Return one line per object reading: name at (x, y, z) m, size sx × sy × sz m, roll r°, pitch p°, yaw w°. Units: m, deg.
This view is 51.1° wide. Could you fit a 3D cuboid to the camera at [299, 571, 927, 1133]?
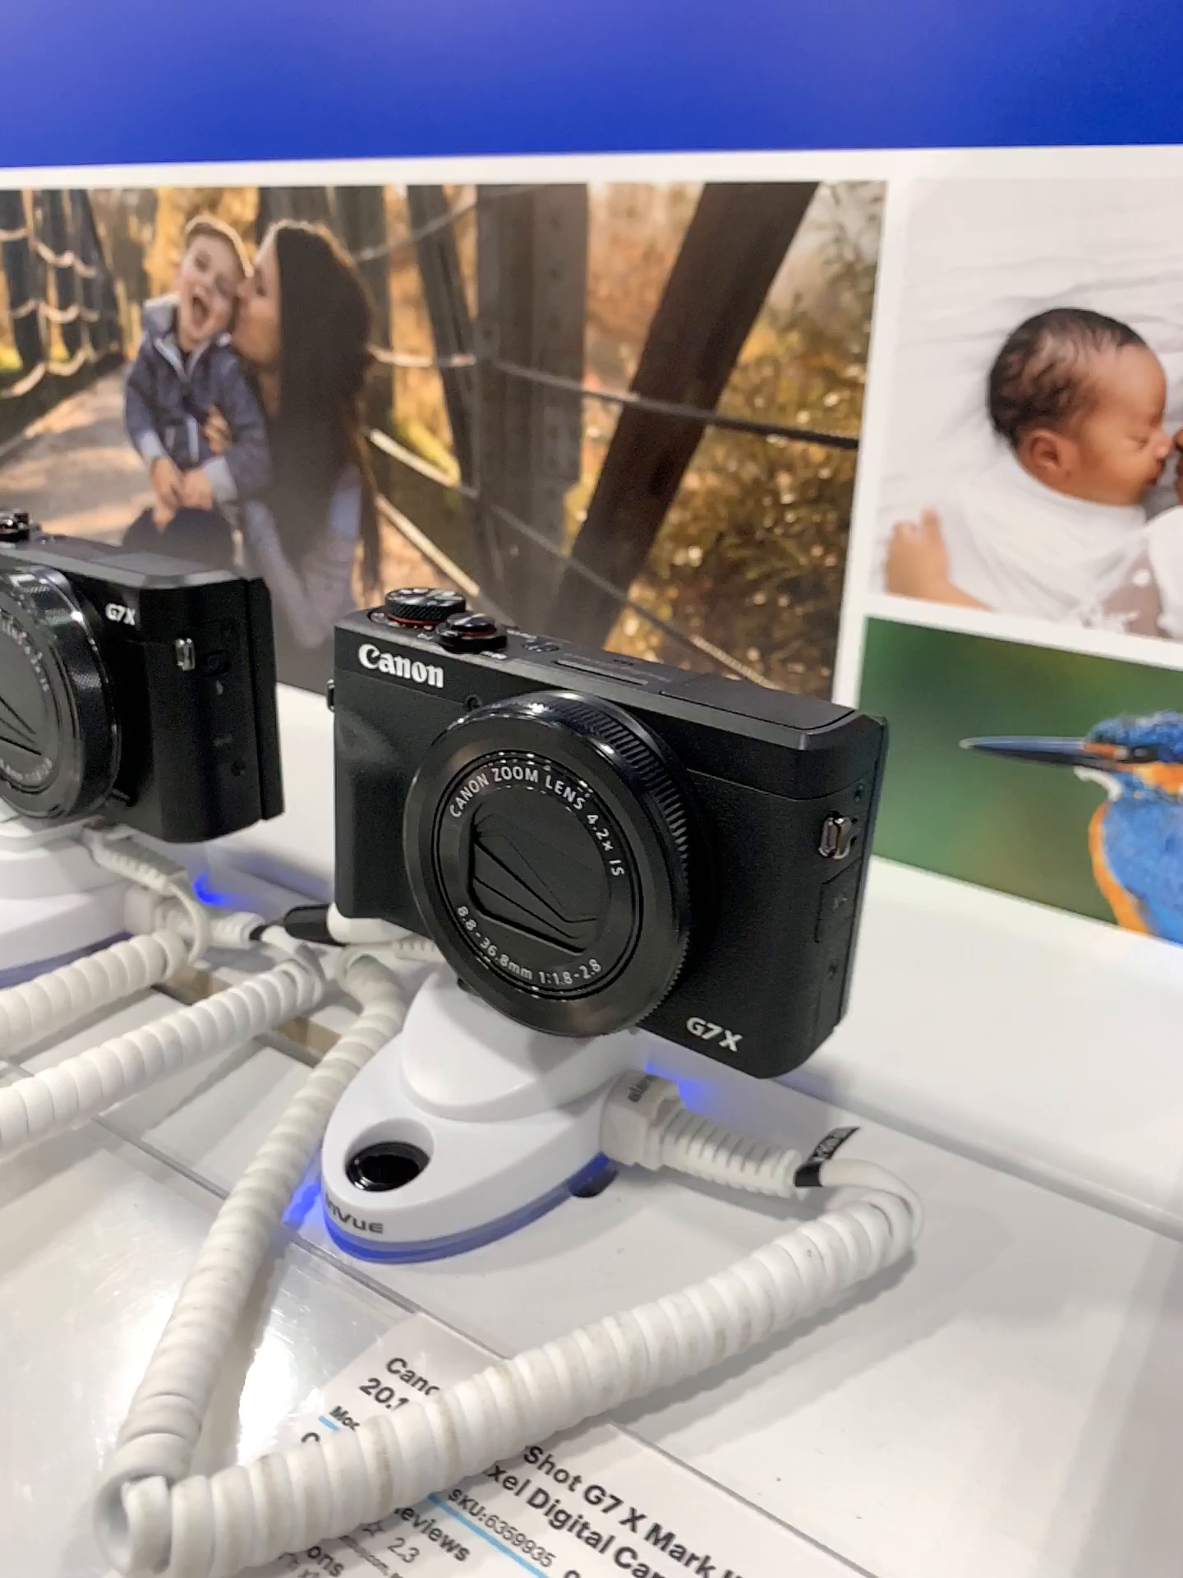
camera at (-0.002, 0.004, 0.234) m, size 0.110 × 0.070 × 0.040 m, roll 17°, pitch 24°, yaw 33°
